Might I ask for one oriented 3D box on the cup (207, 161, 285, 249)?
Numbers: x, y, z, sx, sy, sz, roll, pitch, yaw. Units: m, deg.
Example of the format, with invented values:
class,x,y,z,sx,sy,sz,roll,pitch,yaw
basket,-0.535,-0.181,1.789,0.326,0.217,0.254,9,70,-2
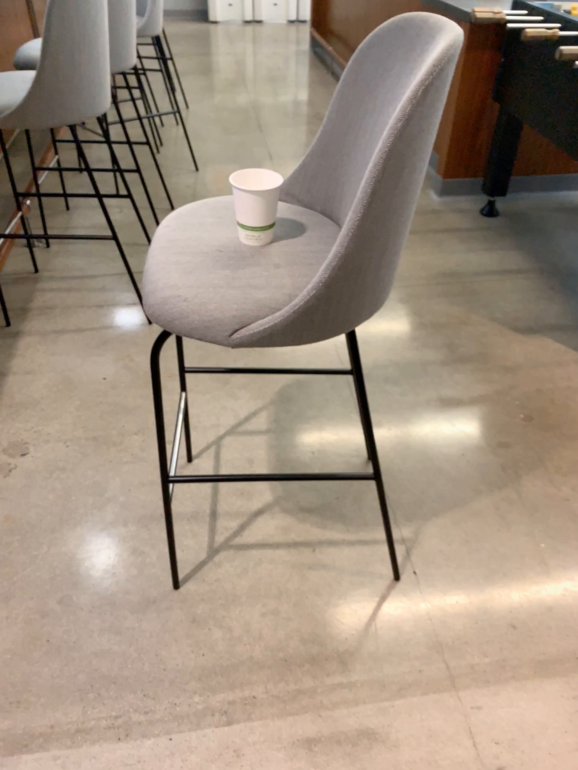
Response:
class,x,y,z,sx,sy,sz,roll,pitch,yaw
cup,-0.069,-0.299,0.983,0.090,0.099,0.090,0,39,0
